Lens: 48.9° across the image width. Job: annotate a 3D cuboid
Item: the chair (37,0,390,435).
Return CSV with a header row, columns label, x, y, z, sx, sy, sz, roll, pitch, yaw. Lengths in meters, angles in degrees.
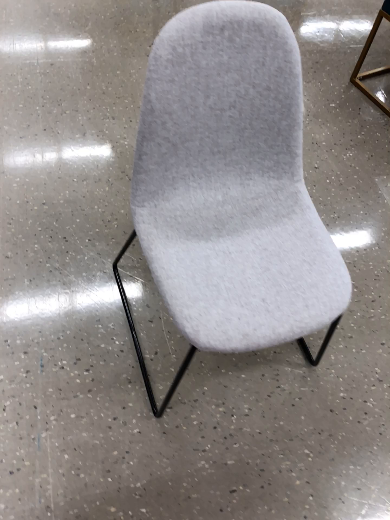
label,x,y,z,sx,sy,sz,roll,pitch,yaw
chair,0.056,-0.058,0.986,0.590,0.778,0.581,-11,59,-13
